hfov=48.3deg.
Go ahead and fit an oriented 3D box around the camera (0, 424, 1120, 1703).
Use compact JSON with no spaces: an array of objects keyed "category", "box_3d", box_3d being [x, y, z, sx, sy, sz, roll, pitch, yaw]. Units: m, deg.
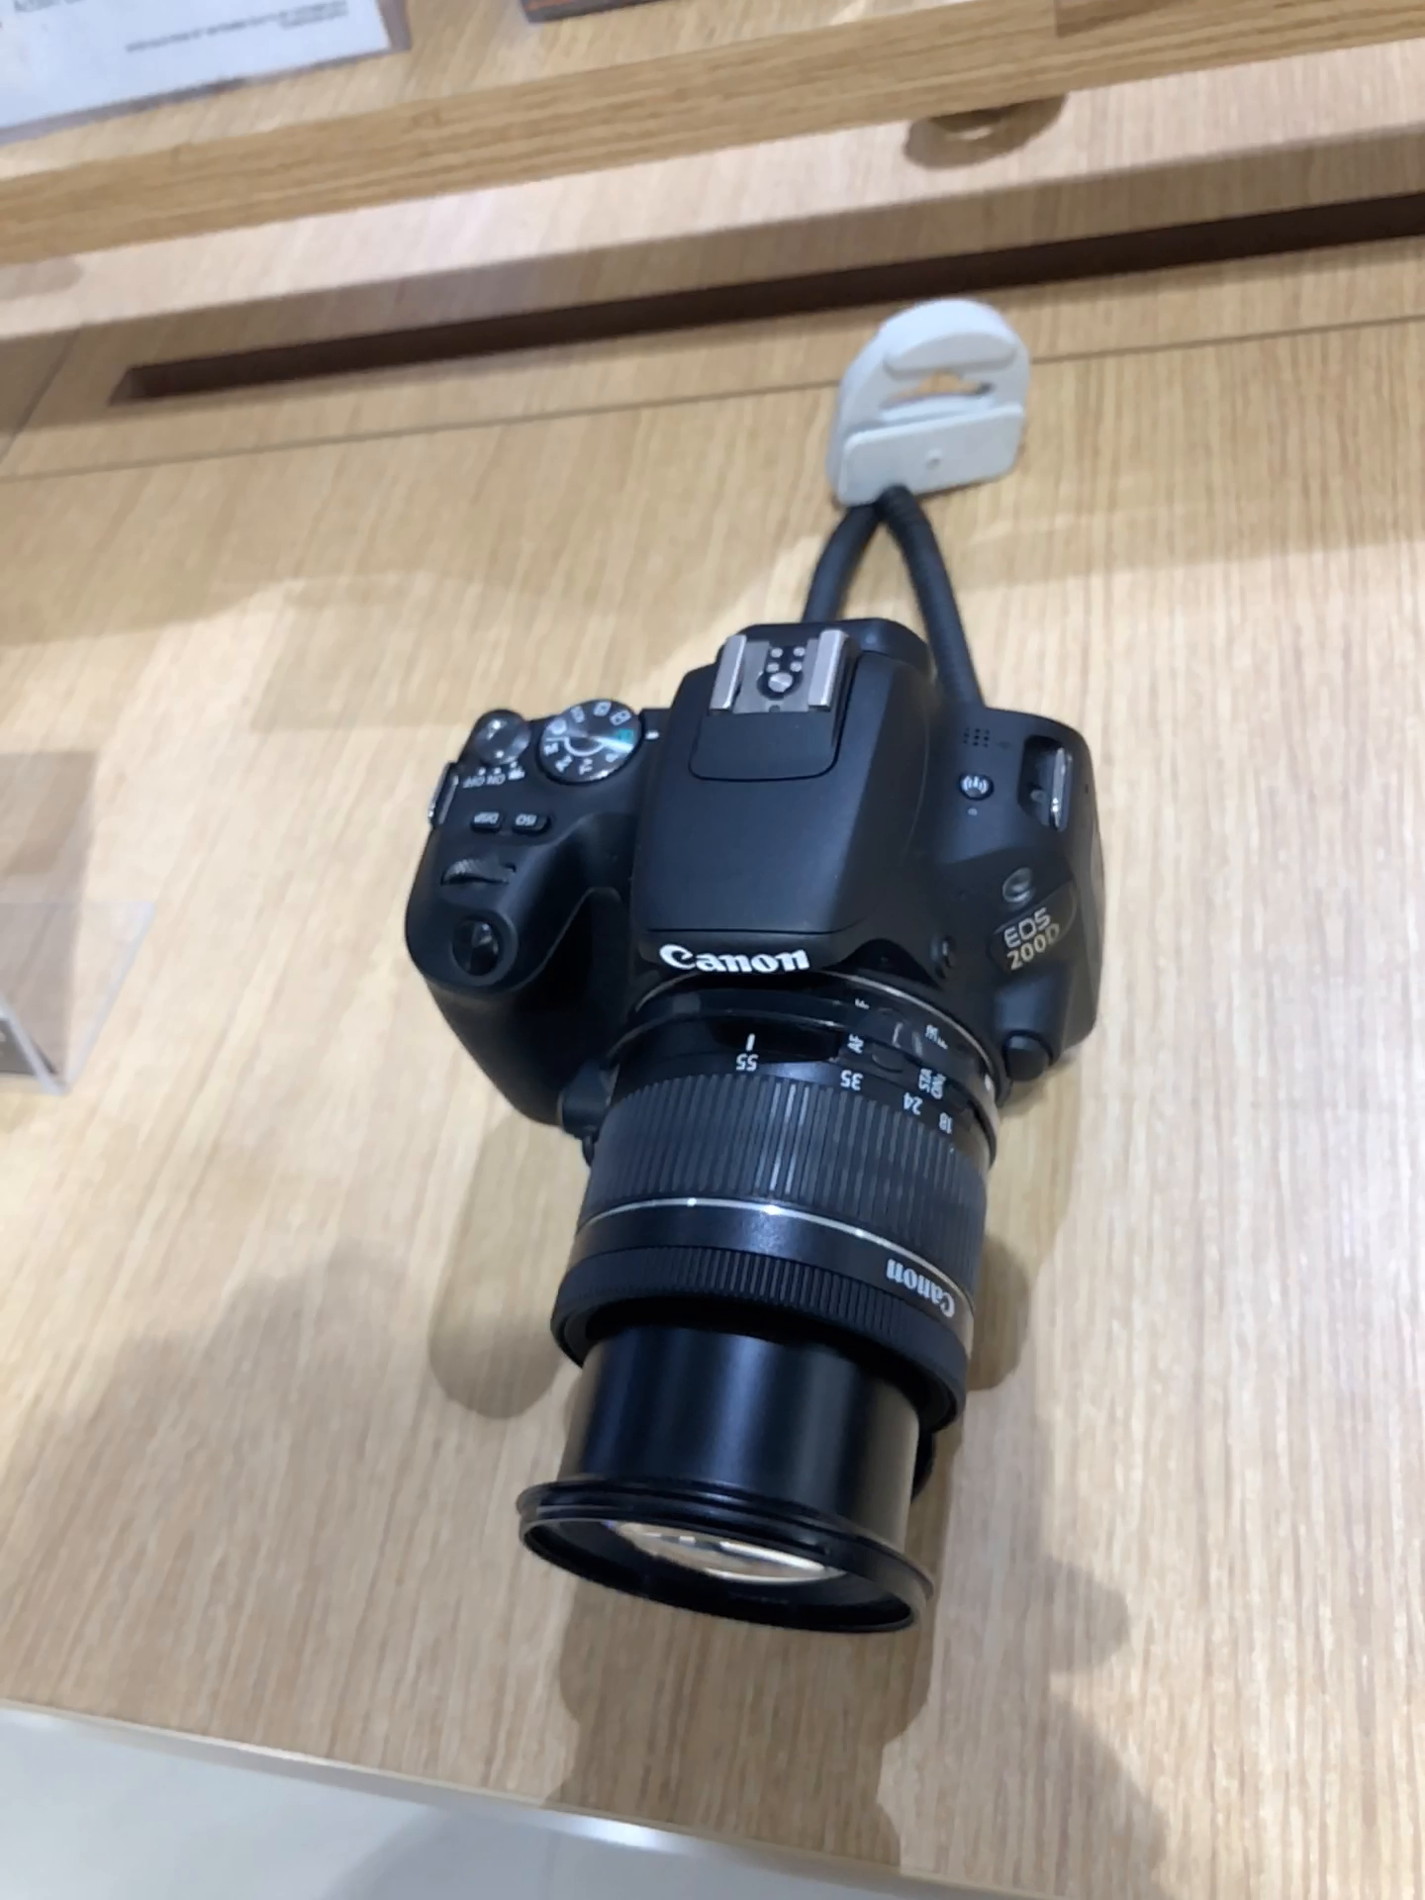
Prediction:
[{"category":"camera","box_3d":[-0.002,0.015,0.254,0.120,0.099,0.161,0,56,18]}]
